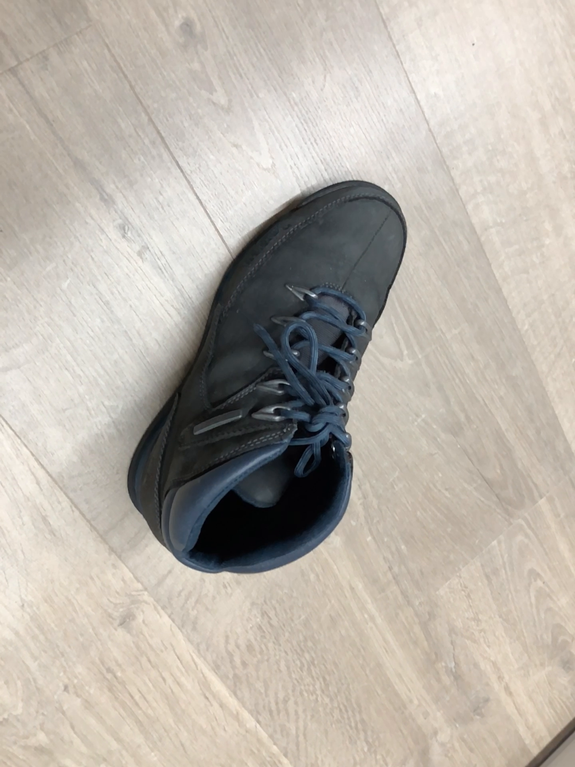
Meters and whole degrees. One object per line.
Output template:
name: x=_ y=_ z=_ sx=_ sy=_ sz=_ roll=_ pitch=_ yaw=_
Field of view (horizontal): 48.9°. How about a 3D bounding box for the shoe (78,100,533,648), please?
shoe: x=0.002 y=-0.011 z=0.405 sx=0.110 sy=0.130 sz=0.290 roll=35 pitch=86 yaw=-24
